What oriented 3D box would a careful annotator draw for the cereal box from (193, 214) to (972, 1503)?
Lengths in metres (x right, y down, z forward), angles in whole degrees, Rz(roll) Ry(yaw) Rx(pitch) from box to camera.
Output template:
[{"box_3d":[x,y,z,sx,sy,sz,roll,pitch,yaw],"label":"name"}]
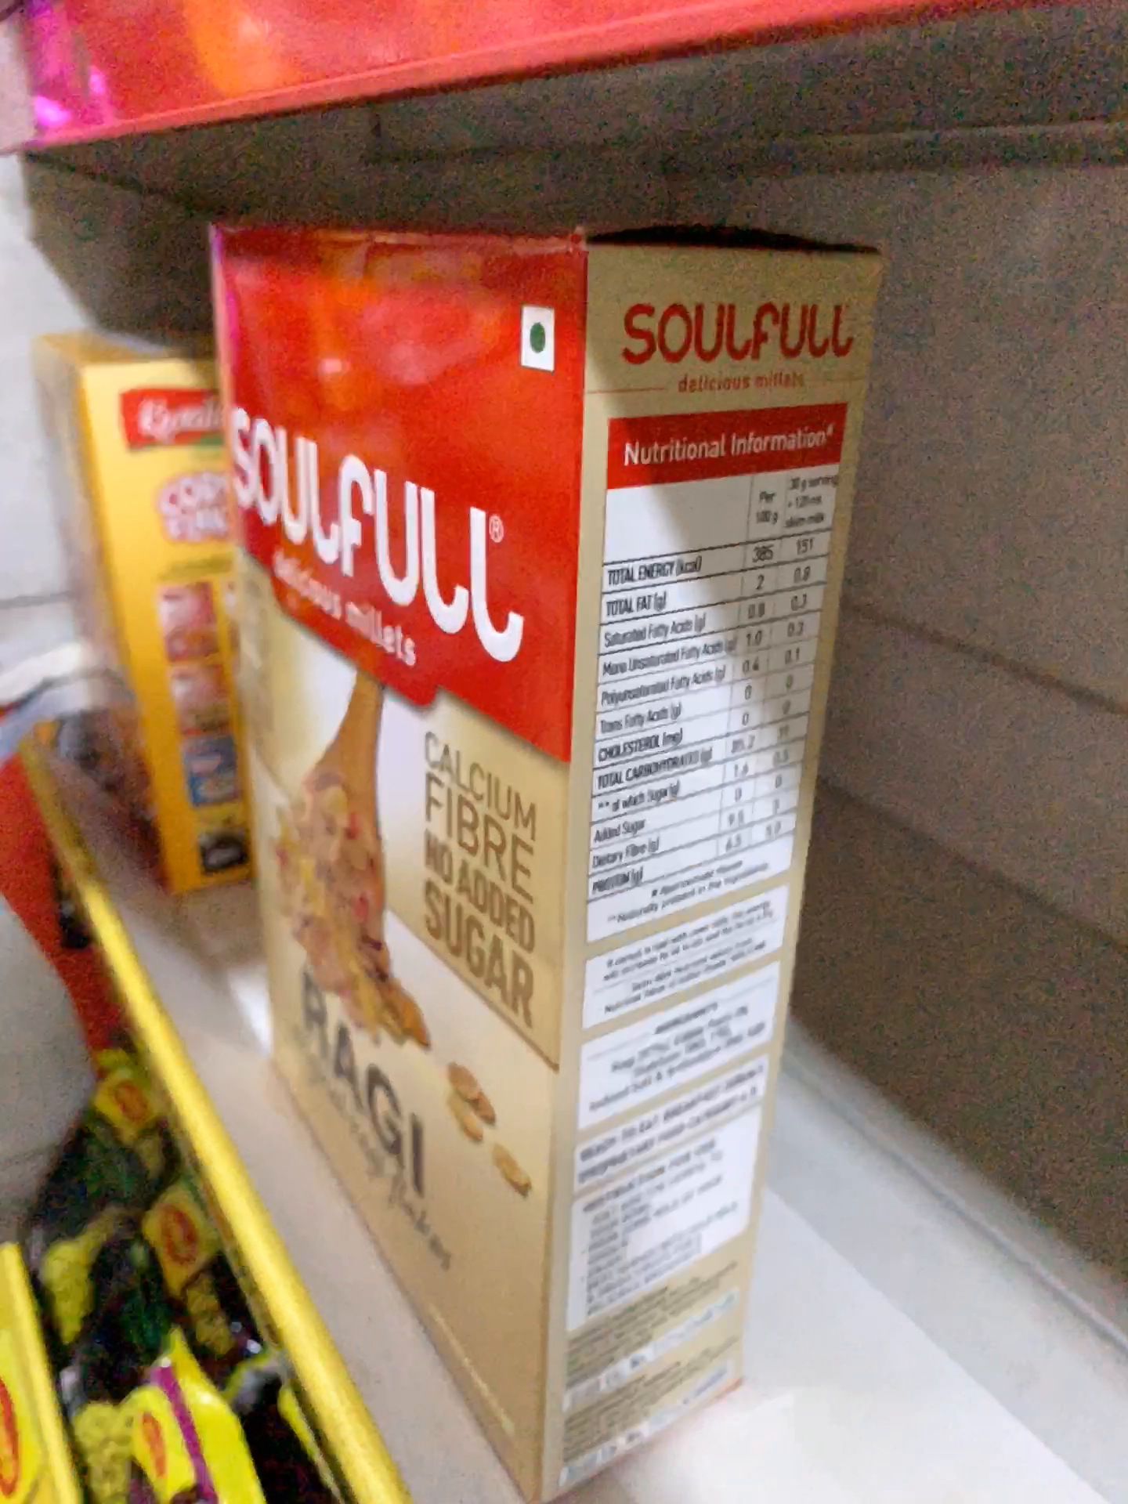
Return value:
[{"box_3d":[-0.018,0.018,0.267,0.060,0.248,0.171,-12,27,-30],"label":"cereal box"}]
